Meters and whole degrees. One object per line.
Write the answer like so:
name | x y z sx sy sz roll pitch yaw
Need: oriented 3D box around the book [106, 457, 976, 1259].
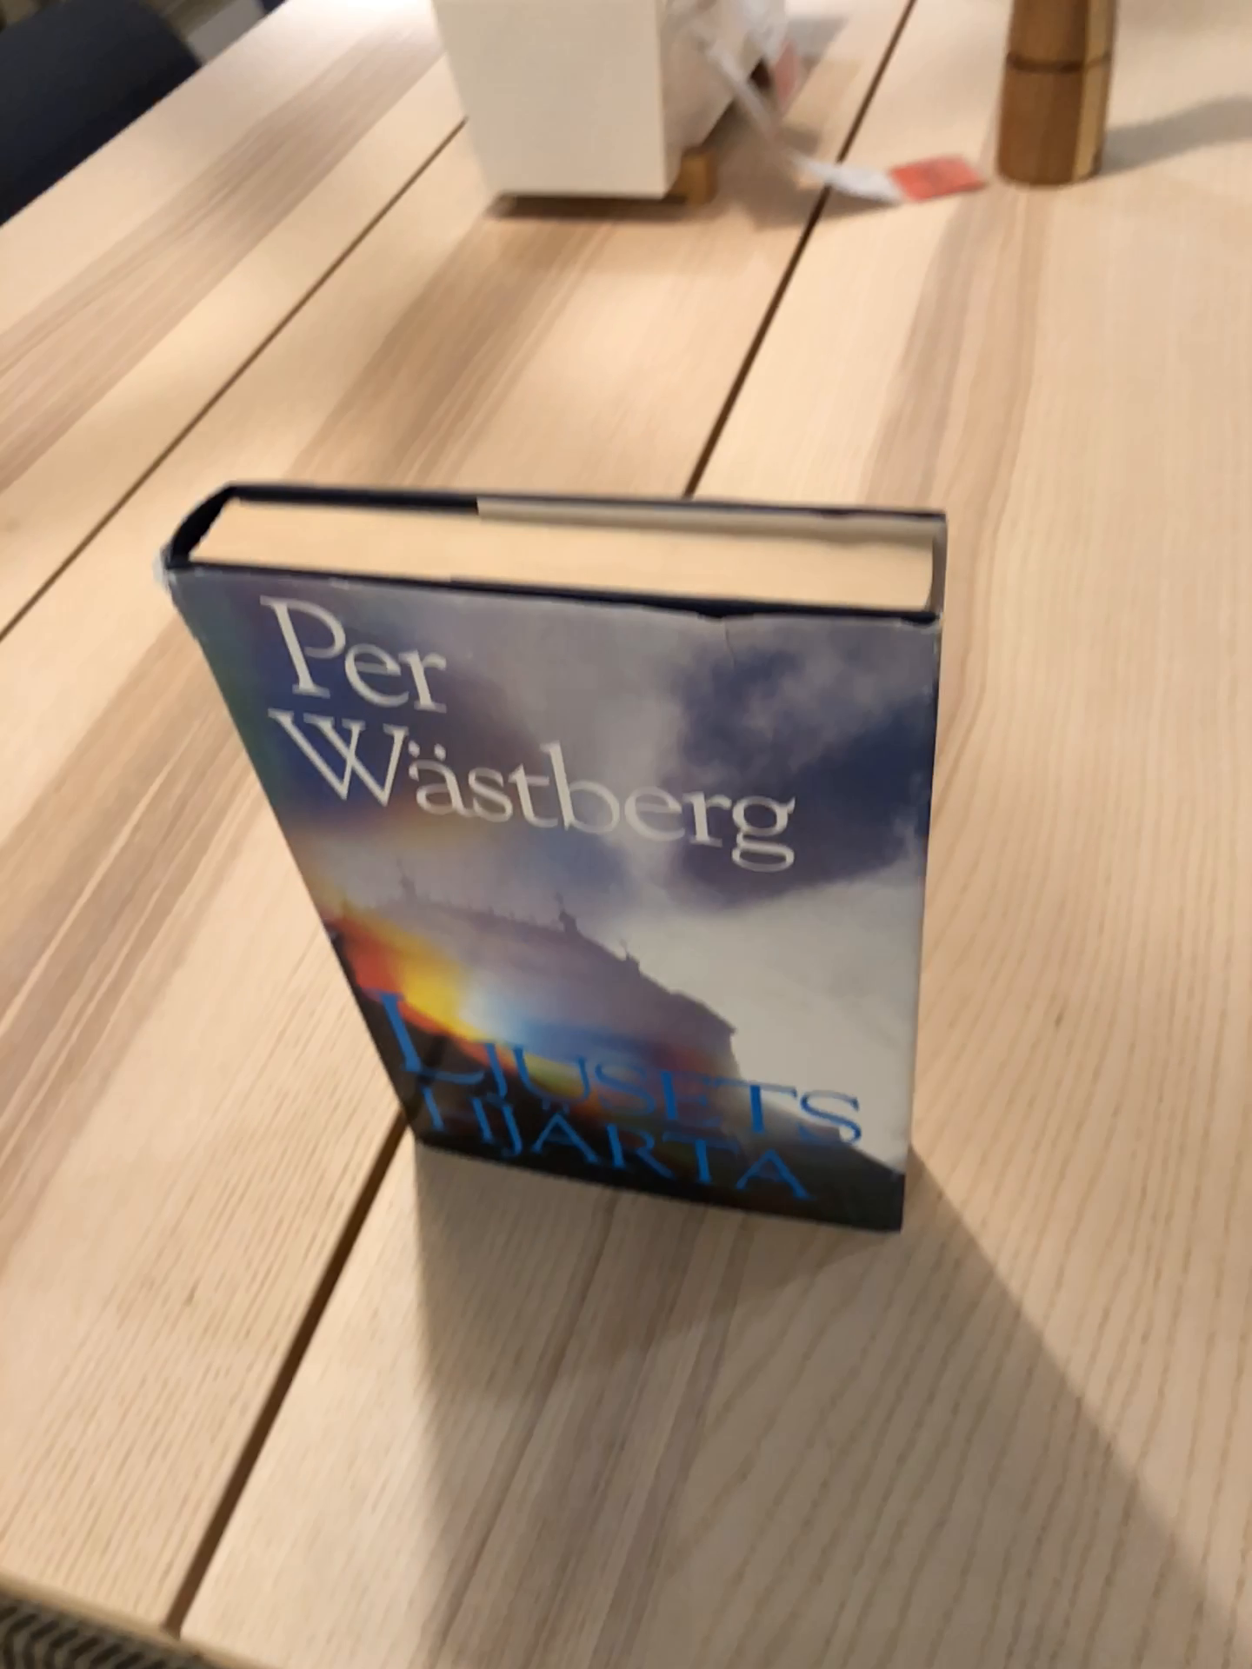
book | -0.006 0.018 0.350 0.166 0.221 0.042 7 48 16
